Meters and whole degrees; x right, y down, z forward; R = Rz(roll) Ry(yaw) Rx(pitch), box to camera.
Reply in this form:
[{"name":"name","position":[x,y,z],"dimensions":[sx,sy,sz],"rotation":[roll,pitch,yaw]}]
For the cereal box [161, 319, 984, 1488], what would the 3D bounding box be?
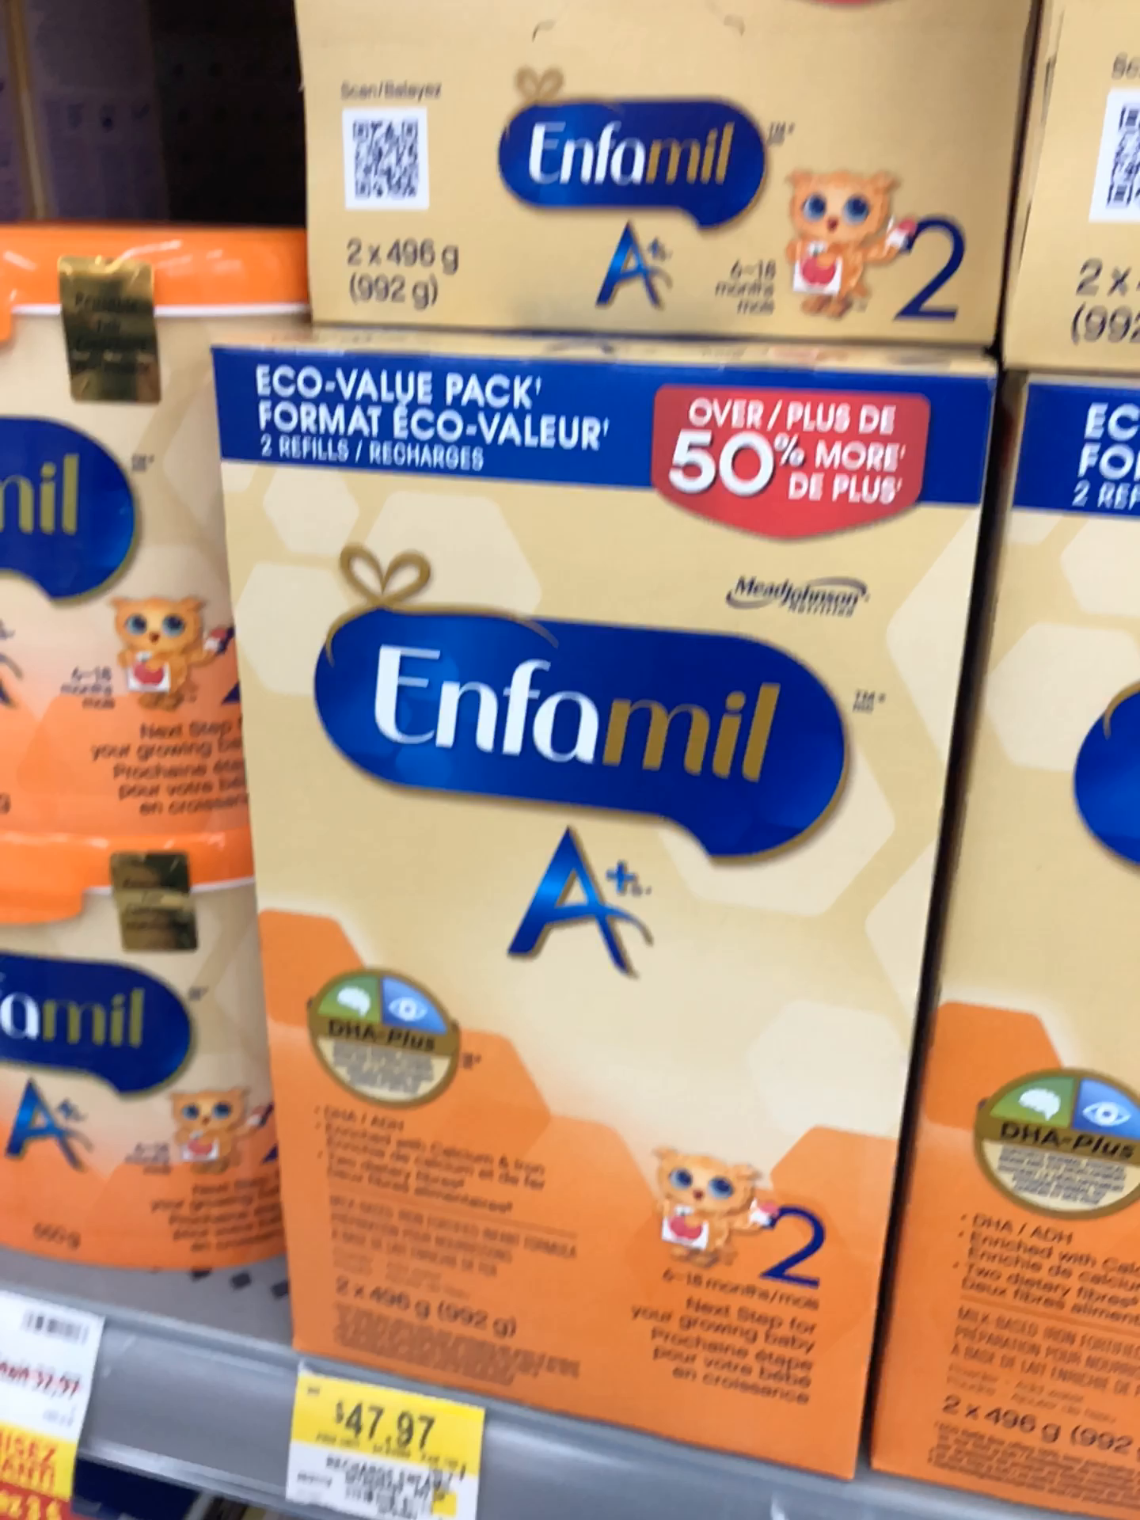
[{"name":"cereal box","position":[0.002,0.030,0.292],"dimensions":[0.140,0.238,0.081],"rotation":[7,23,12]}]
